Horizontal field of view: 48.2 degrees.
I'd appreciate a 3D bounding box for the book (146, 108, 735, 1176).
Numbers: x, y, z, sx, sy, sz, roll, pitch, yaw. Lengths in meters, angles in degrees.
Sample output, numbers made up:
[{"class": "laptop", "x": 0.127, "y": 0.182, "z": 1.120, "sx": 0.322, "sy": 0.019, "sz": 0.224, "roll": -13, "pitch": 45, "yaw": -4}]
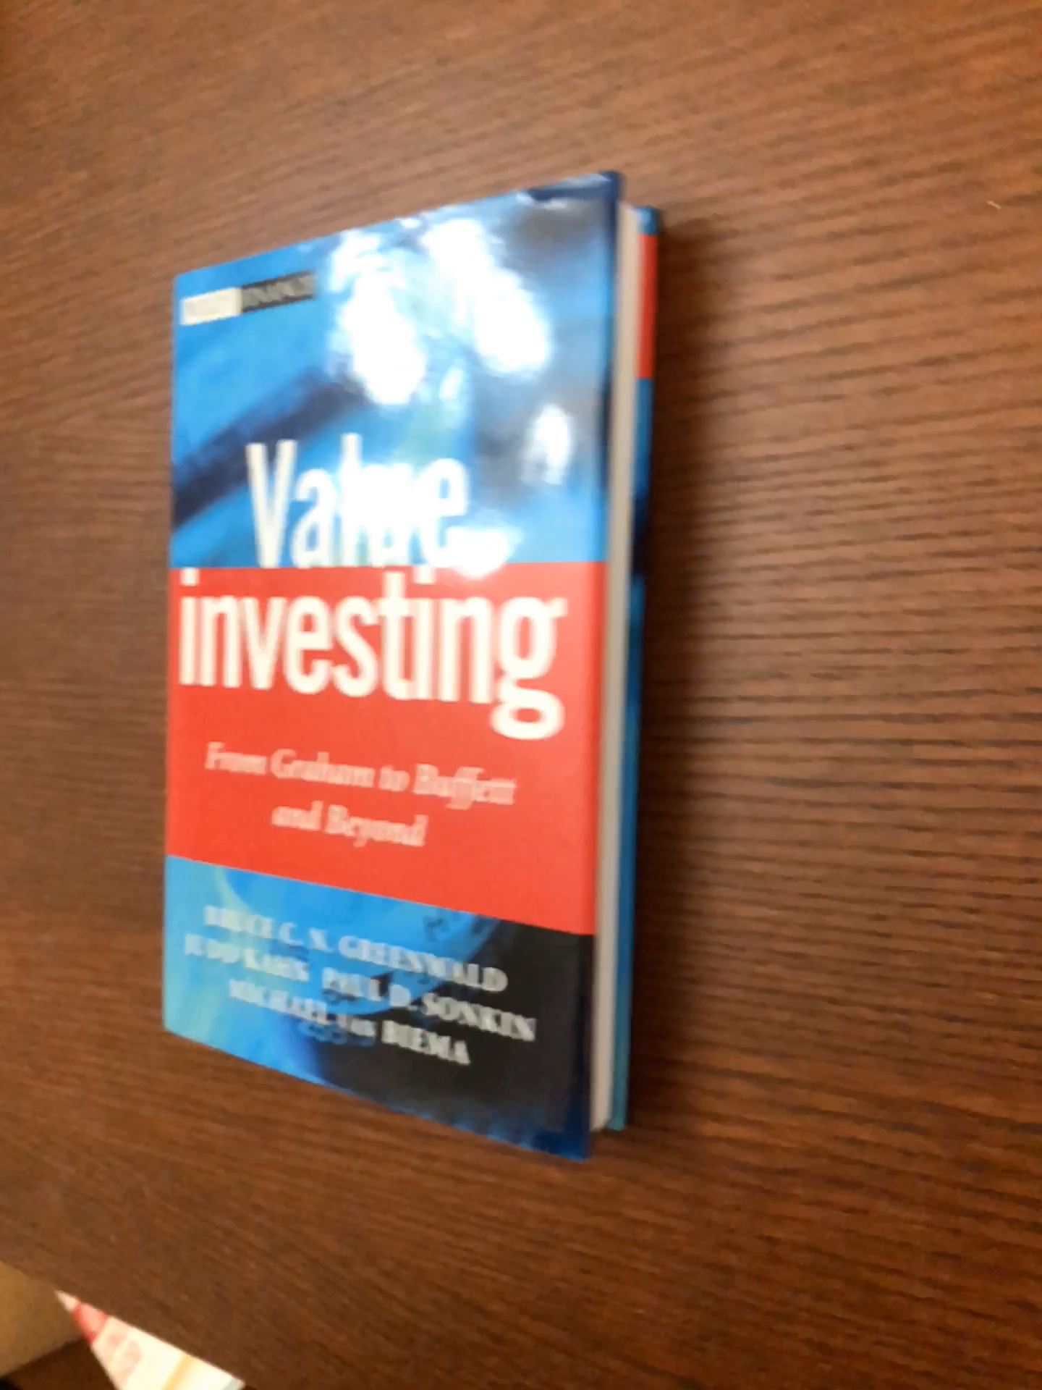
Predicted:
[{"class": "book", "x": -0.033, "y": -0.014, "z": 0.307, "sx": 0.171, "sy": 0.020, "sz": 0.230, "roll": 4, "pitch": 94, "yaw": 34}]
